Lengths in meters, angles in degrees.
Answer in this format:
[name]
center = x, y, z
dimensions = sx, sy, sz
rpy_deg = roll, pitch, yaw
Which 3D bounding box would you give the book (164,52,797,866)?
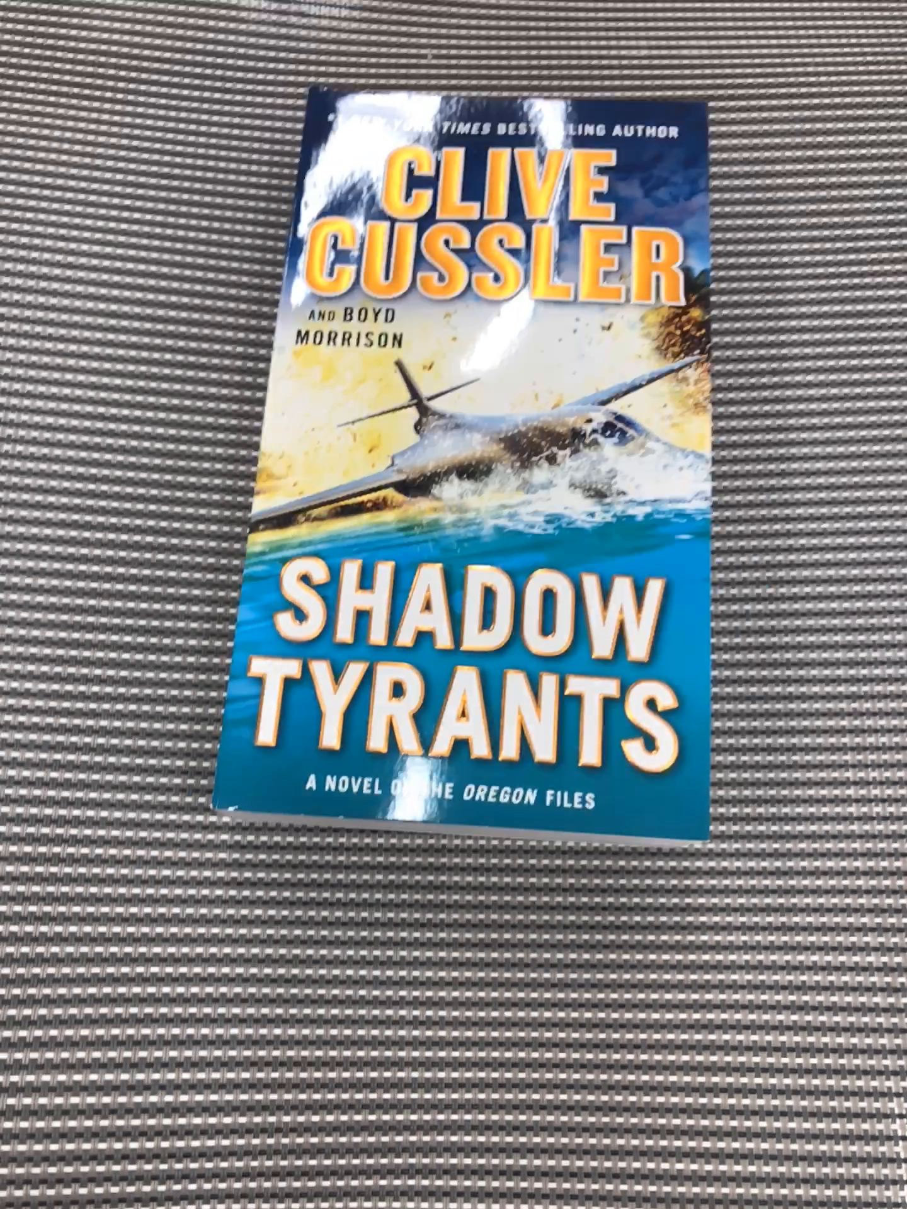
[book]
center = 0.011, -0.035, 0.246
dimensions = 0.120, 0.060, 0.180
rpy_deg = 4, 73, 0
